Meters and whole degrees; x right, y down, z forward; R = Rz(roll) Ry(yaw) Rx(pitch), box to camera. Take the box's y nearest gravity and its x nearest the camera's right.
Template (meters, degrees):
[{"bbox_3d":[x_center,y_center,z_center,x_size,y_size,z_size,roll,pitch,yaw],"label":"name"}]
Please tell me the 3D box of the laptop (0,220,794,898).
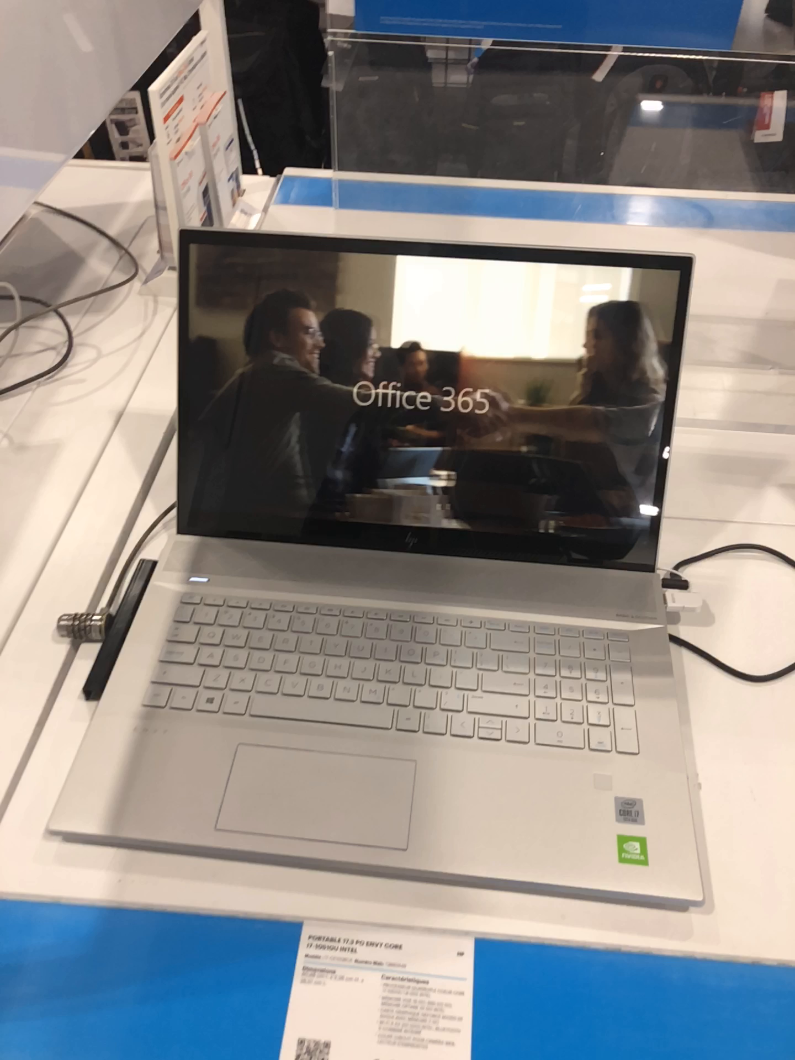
[{"bbox_3d":[0.002,-0.013,0.596,0.390,0.199,0.399,5,44,3],"label":"laptop"}]
